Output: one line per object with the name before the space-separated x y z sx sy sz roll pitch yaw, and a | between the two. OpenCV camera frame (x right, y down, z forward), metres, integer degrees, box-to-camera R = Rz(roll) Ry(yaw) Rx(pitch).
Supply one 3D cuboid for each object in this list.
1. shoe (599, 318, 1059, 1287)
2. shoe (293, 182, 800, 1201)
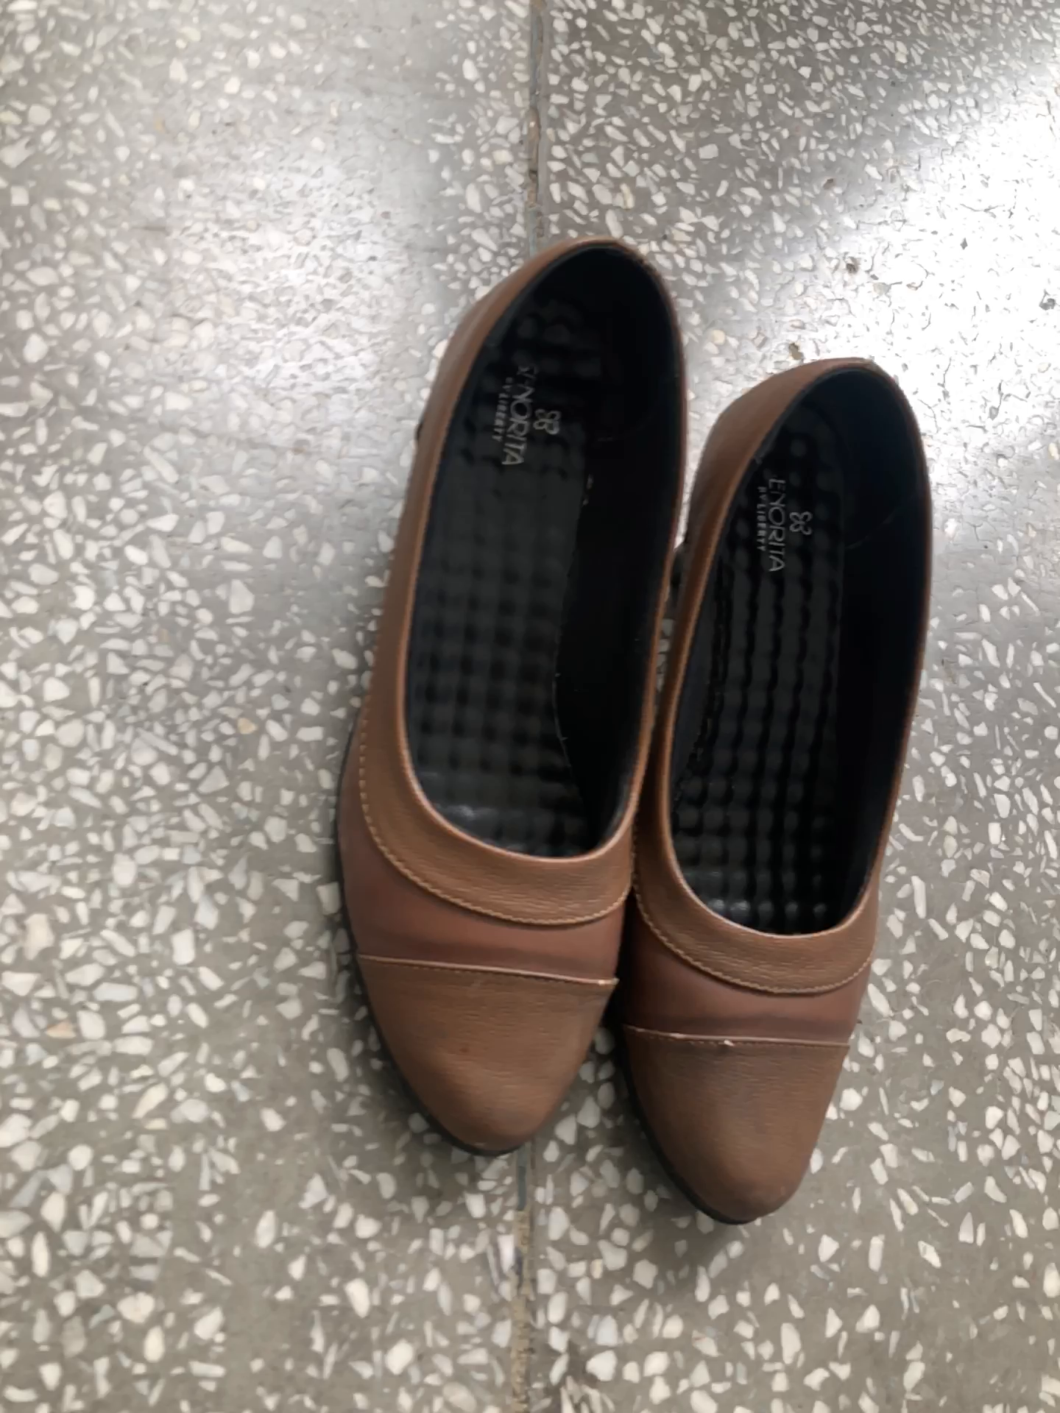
shoe | 0.081 0.028 0.337 0.092 0.096 0.241 9 67 -18
shoe | 0.003 -0.001 0.319 0.090 0.096 0.244 10 67 -18
